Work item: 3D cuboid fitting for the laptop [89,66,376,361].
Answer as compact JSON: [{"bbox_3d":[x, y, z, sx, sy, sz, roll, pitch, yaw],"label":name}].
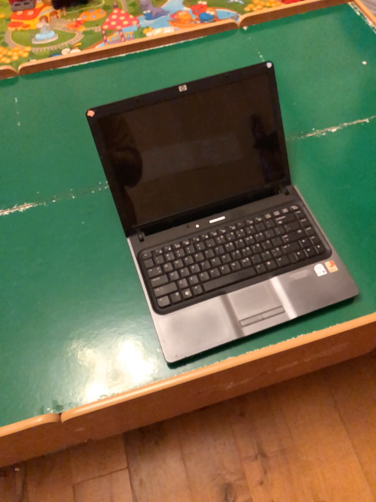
[{"bbox_3d":[0.057,-0.075,0.673,0.323,0.172,0.375,-18,60,-7],"label":"laptop"}]
